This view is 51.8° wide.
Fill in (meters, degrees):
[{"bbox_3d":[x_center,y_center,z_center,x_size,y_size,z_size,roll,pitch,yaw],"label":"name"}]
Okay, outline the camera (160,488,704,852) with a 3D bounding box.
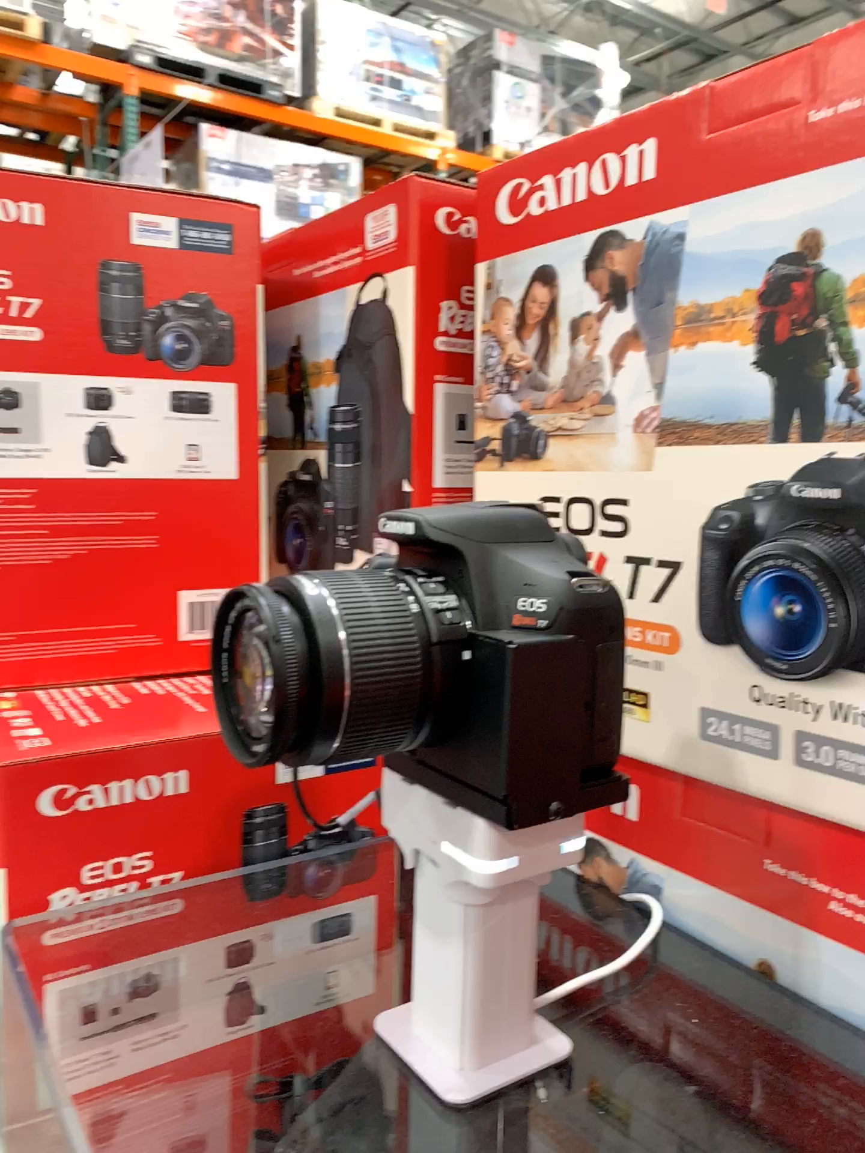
[{"bbox_3d":[-0.006,0.017,0.350,0.160,0.100,0.140,-3,8,-33],"label":"camera"}]
